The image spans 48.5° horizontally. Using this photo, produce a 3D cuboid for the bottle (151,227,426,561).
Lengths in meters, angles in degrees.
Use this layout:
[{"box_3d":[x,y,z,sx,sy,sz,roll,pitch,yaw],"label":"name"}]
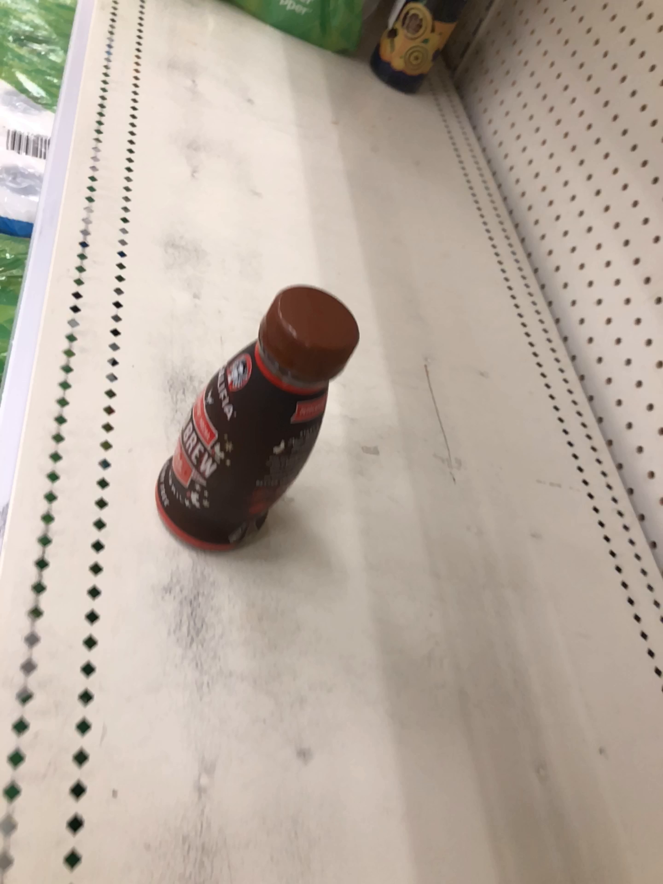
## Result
[{"box_3d":[-0.029,-0.014,0.363,0.080,0.149,0.070,13,49,-19],"label":"bottle"}]
